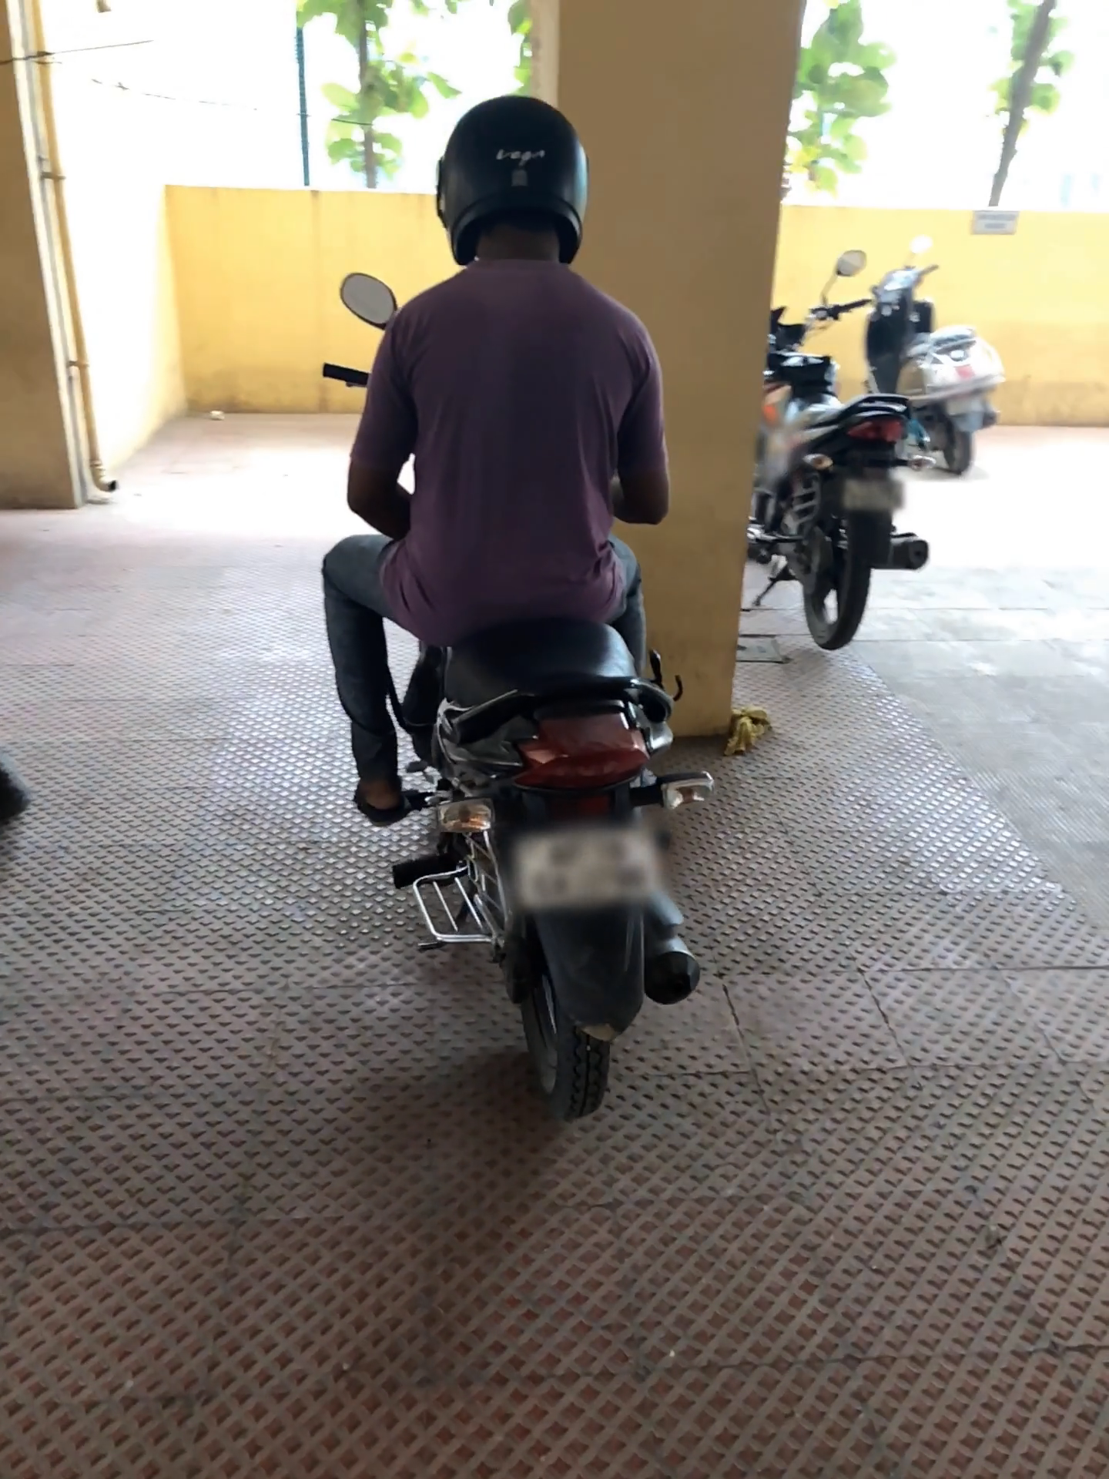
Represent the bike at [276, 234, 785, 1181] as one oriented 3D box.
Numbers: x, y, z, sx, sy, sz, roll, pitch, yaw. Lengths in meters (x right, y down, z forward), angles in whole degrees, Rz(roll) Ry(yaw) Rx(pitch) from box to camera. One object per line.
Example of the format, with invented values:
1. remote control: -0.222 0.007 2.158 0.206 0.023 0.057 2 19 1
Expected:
1. bike: -0.077 -0.260 2.408 0.631 1.063 1.655 0 30 -4
